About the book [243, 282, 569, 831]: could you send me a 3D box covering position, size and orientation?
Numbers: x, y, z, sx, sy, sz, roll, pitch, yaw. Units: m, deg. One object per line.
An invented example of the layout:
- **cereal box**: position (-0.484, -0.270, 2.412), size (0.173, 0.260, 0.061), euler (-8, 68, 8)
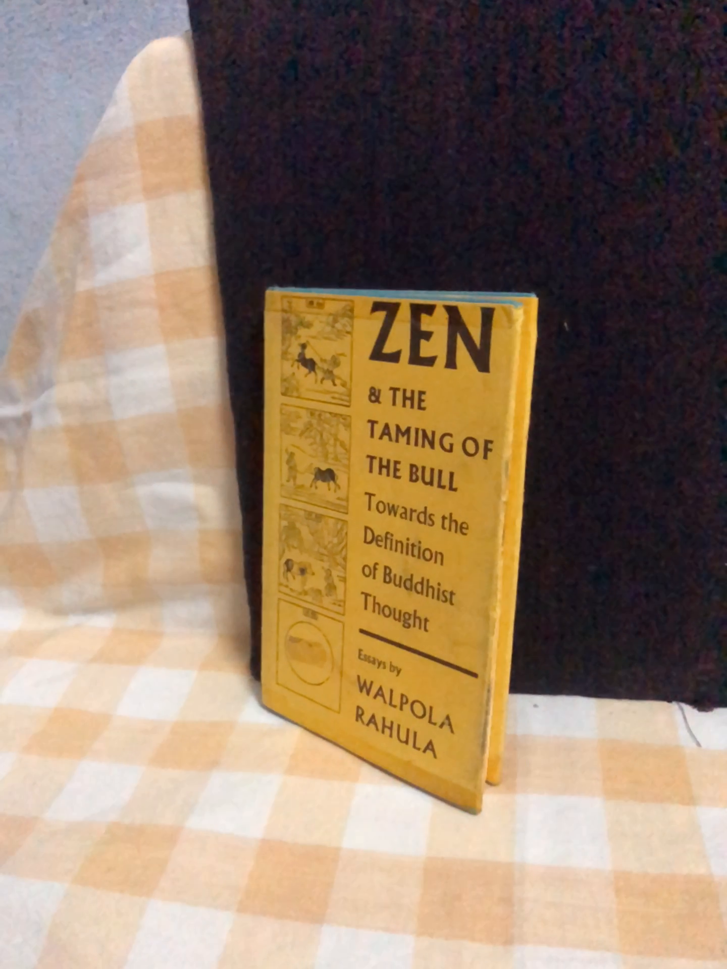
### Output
- **book**: position (0.007, 0.023, 0.352), size (0.140, 0.209, 0.030), euler (14, 19, 36)
